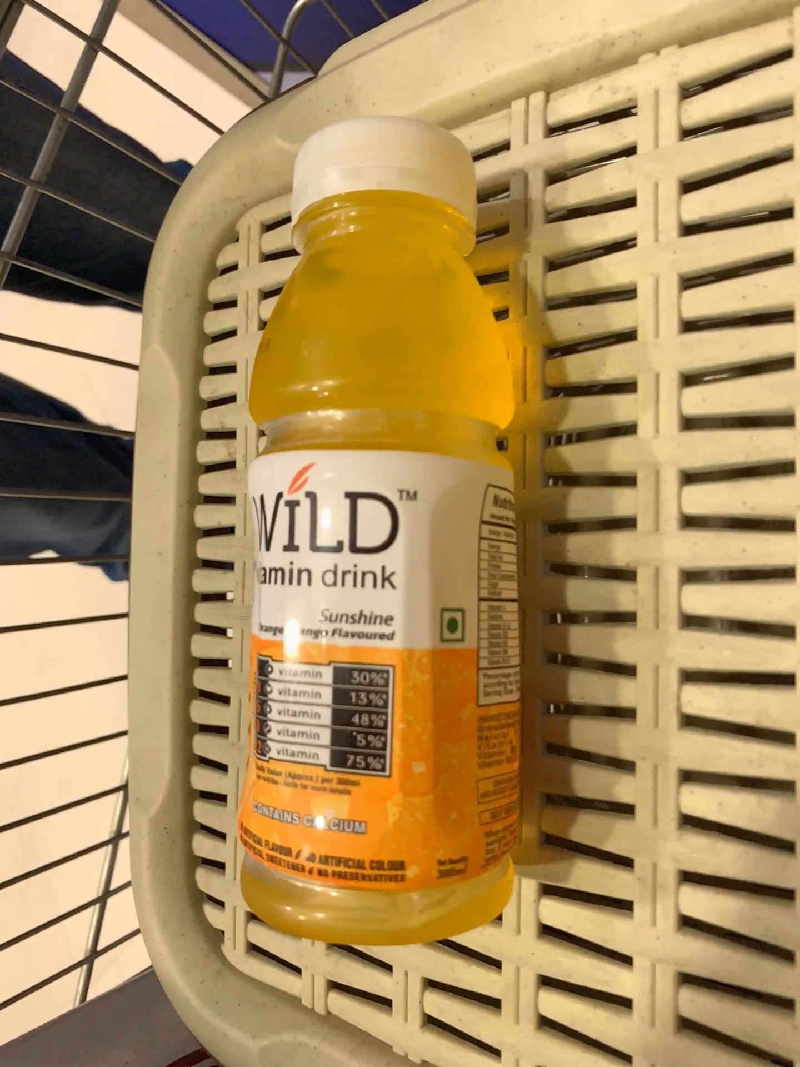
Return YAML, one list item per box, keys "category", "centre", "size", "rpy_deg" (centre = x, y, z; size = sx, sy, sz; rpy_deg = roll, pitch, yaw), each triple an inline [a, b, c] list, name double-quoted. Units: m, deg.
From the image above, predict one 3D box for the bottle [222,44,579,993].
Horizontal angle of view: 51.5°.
- category: "bottle"
  centre: [0.004, -0.003, 0.188]
  size: [0.060, 0.060, 0.170]
  rpy_deg: [0, 88, 24]
